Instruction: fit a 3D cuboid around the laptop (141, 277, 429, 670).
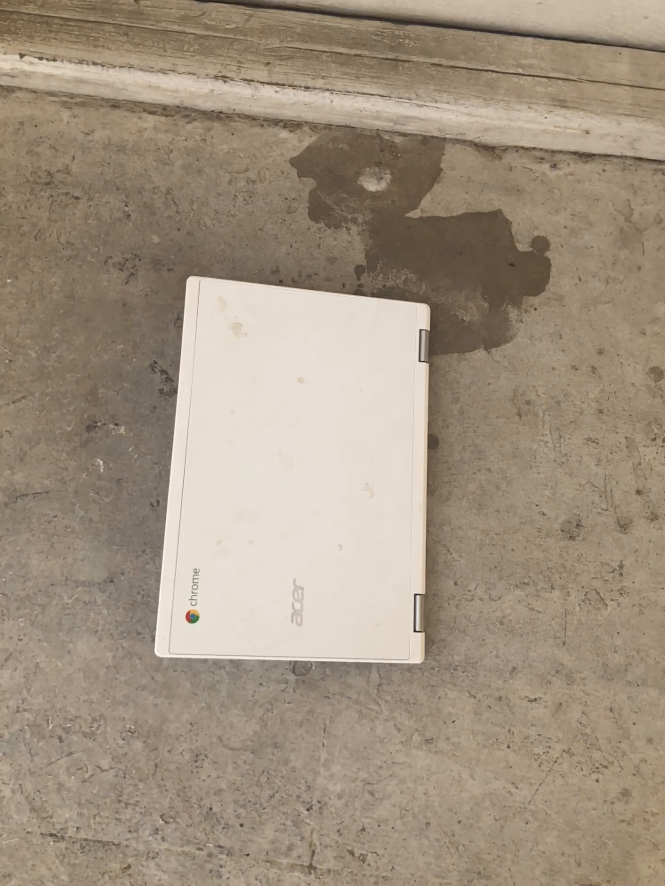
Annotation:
[{"bbox_3d":[-0.029,0.021,0.556,0.189,0.046,0.278,4,79,-3],"label":"laptop"}]
